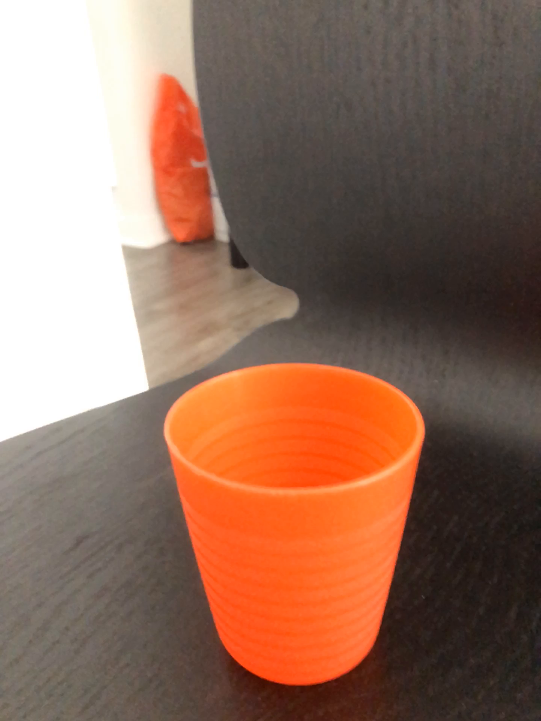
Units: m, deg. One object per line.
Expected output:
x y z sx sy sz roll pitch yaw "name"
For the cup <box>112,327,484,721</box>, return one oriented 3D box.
0.008 0.049 0.201 0.080 0.080 0.080 -3 27 2 "cup"
